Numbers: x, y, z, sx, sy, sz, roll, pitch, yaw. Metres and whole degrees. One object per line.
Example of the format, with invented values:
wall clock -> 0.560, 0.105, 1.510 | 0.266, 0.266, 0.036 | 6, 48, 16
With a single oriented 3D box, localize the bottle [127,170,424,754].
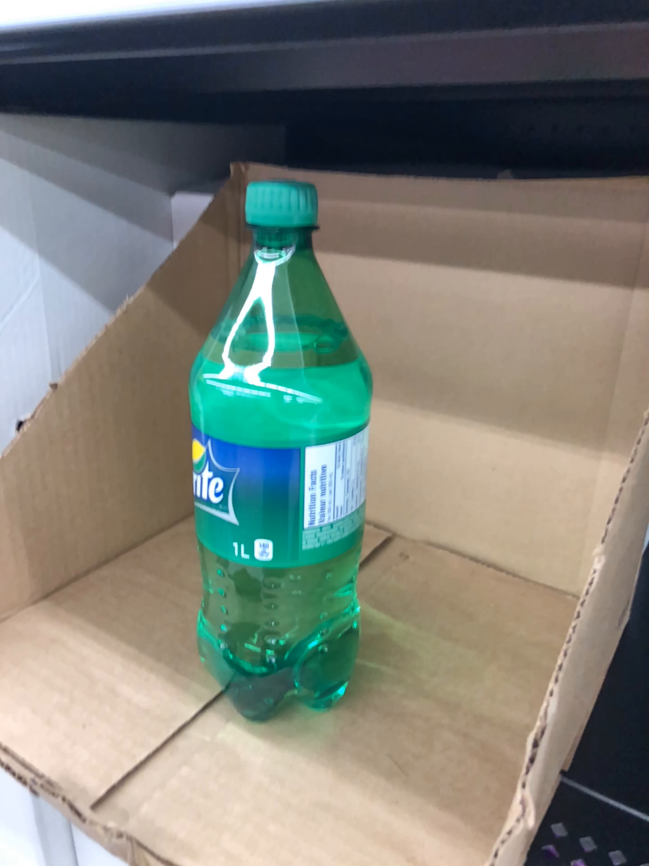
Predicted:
bottle -> -0.024, 0.010, 0.343 | 0.090, 0.248, 0.091 | 1, 22, 0
